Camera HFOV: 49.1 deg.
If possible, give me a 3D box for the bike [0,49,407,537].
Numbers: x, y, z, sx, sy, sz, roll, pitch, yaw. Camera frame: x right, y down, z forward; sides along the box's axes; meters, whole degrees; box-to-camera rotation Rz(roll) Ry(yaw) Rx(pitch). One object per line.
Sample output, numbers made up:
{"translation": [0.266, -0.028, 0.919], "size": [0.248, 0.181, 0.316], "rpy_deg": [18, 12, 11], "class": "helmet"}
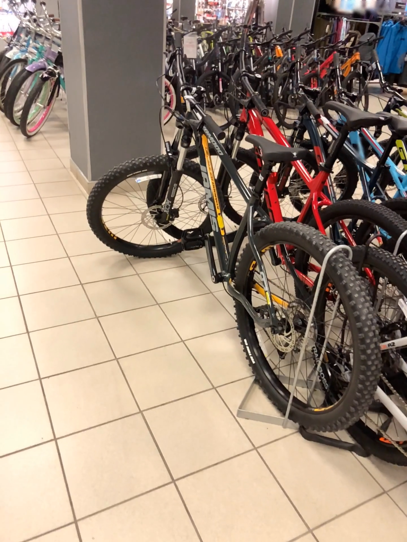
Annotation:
{"translation": [0.015, -0.125, 1.686], "size": [0.809, 1.166, 1.546], "rpy_deg": [-17, 35, -34], "class": "bike"}
